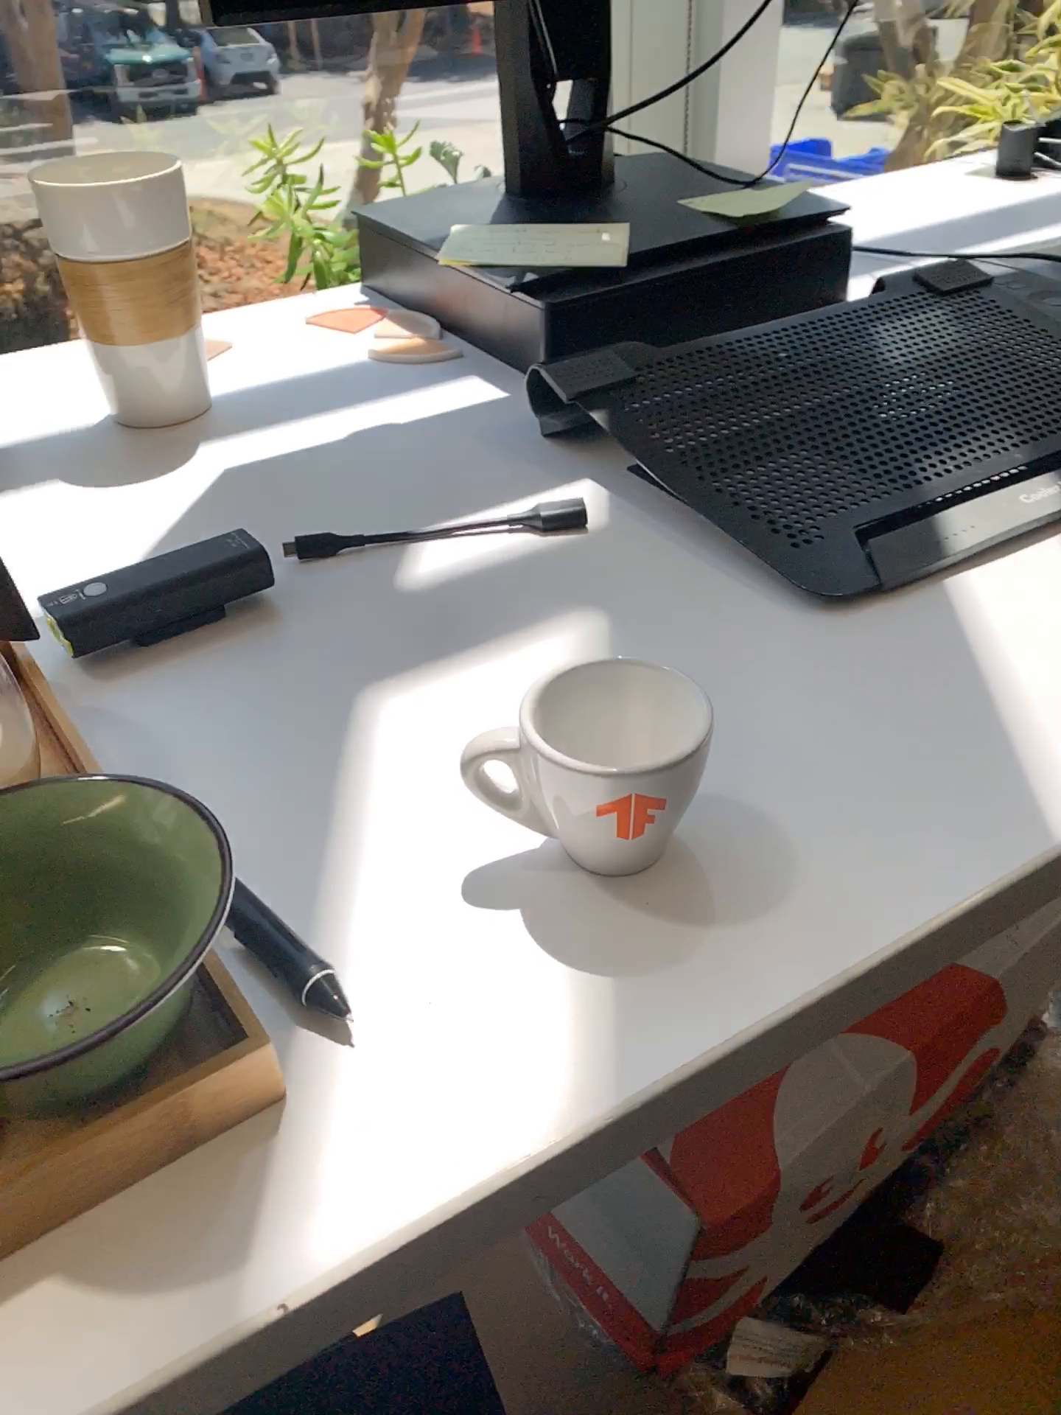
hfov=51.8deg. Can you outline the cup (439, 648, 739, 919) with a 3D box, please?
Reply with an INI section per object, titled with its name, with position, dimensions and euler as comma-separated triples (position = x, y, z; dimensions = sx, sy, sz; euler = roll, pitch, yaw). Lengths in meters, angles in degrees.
[cup]
position = 0.017, 0.025, 0.376
dimensions = 0.090, 0.060, 0.060
euler = -5, 37, -4
